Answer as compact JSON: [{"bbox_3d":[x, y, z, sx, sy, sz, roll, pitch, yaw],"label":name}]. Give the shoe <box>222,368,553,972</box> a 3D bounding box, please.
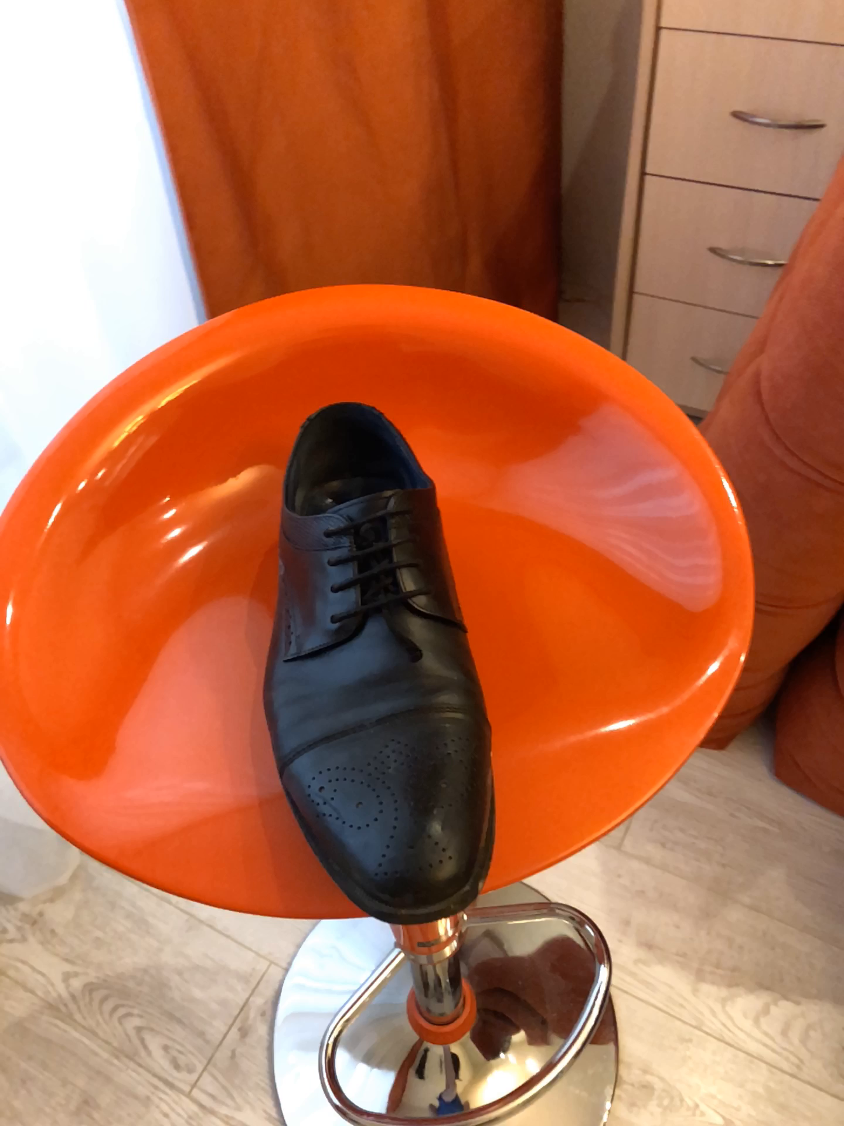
[{"bbox_3d":[-0.028,0.028,0.465,0.120,0.079,0.302,-8,46,-2],"label":"shoe"}]
